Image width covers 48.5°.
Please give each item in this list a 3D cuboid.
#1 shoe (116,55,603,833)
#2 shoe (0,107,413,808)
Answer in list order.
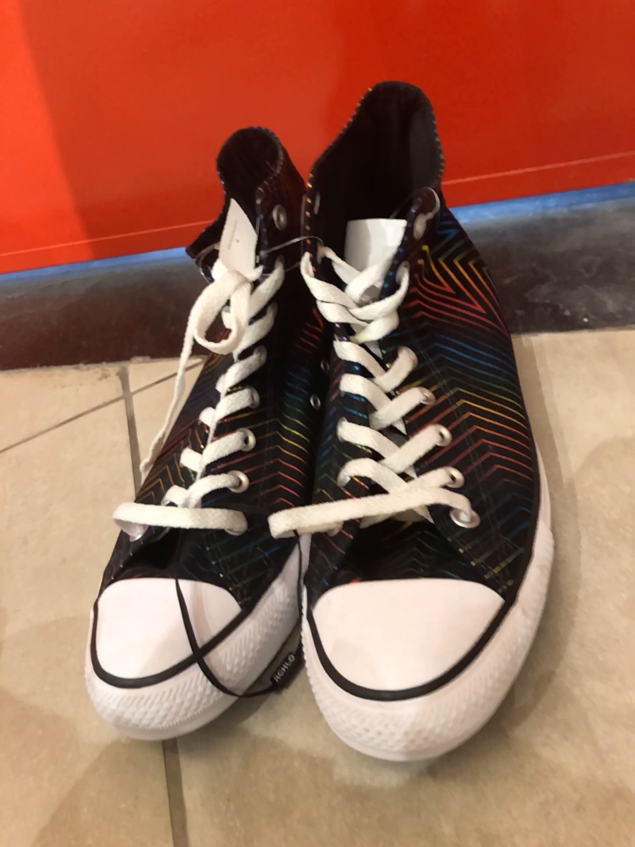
[{"bbox_3d":[0.045,-0.018,0.312,0.110,0.139,0.312,-7,45,19],"label":"shoe"},{"bbox_3d":[-0.038,-0.008,0.349,0.110,0.139,0.312,-4,46,21],"label":"shoe"}]
